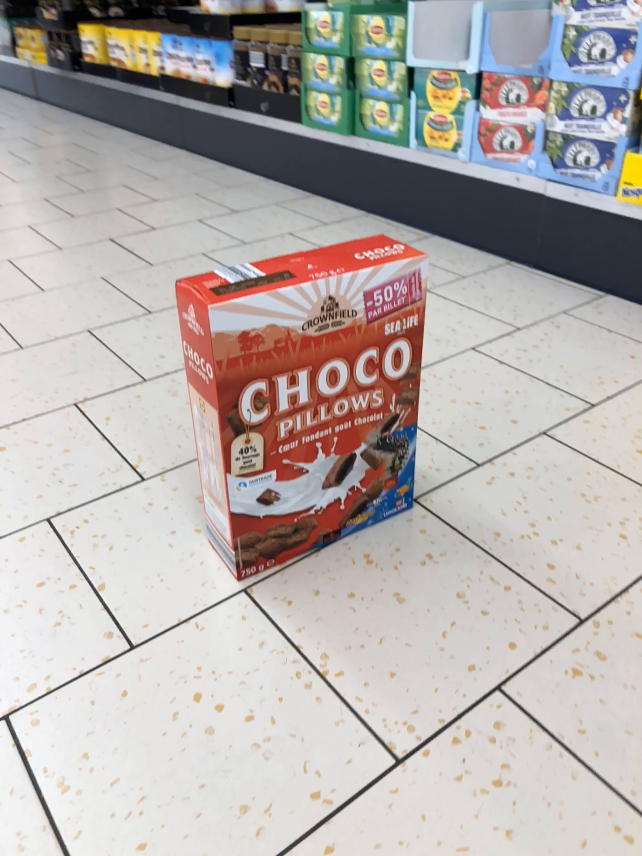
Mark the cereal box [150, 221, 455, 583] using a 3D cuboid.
[{"bbox_3d":[-0.009,-0.025,0.589,0.211,0.239,0.090,-18,35,-25],"label":"cereal box"}]
